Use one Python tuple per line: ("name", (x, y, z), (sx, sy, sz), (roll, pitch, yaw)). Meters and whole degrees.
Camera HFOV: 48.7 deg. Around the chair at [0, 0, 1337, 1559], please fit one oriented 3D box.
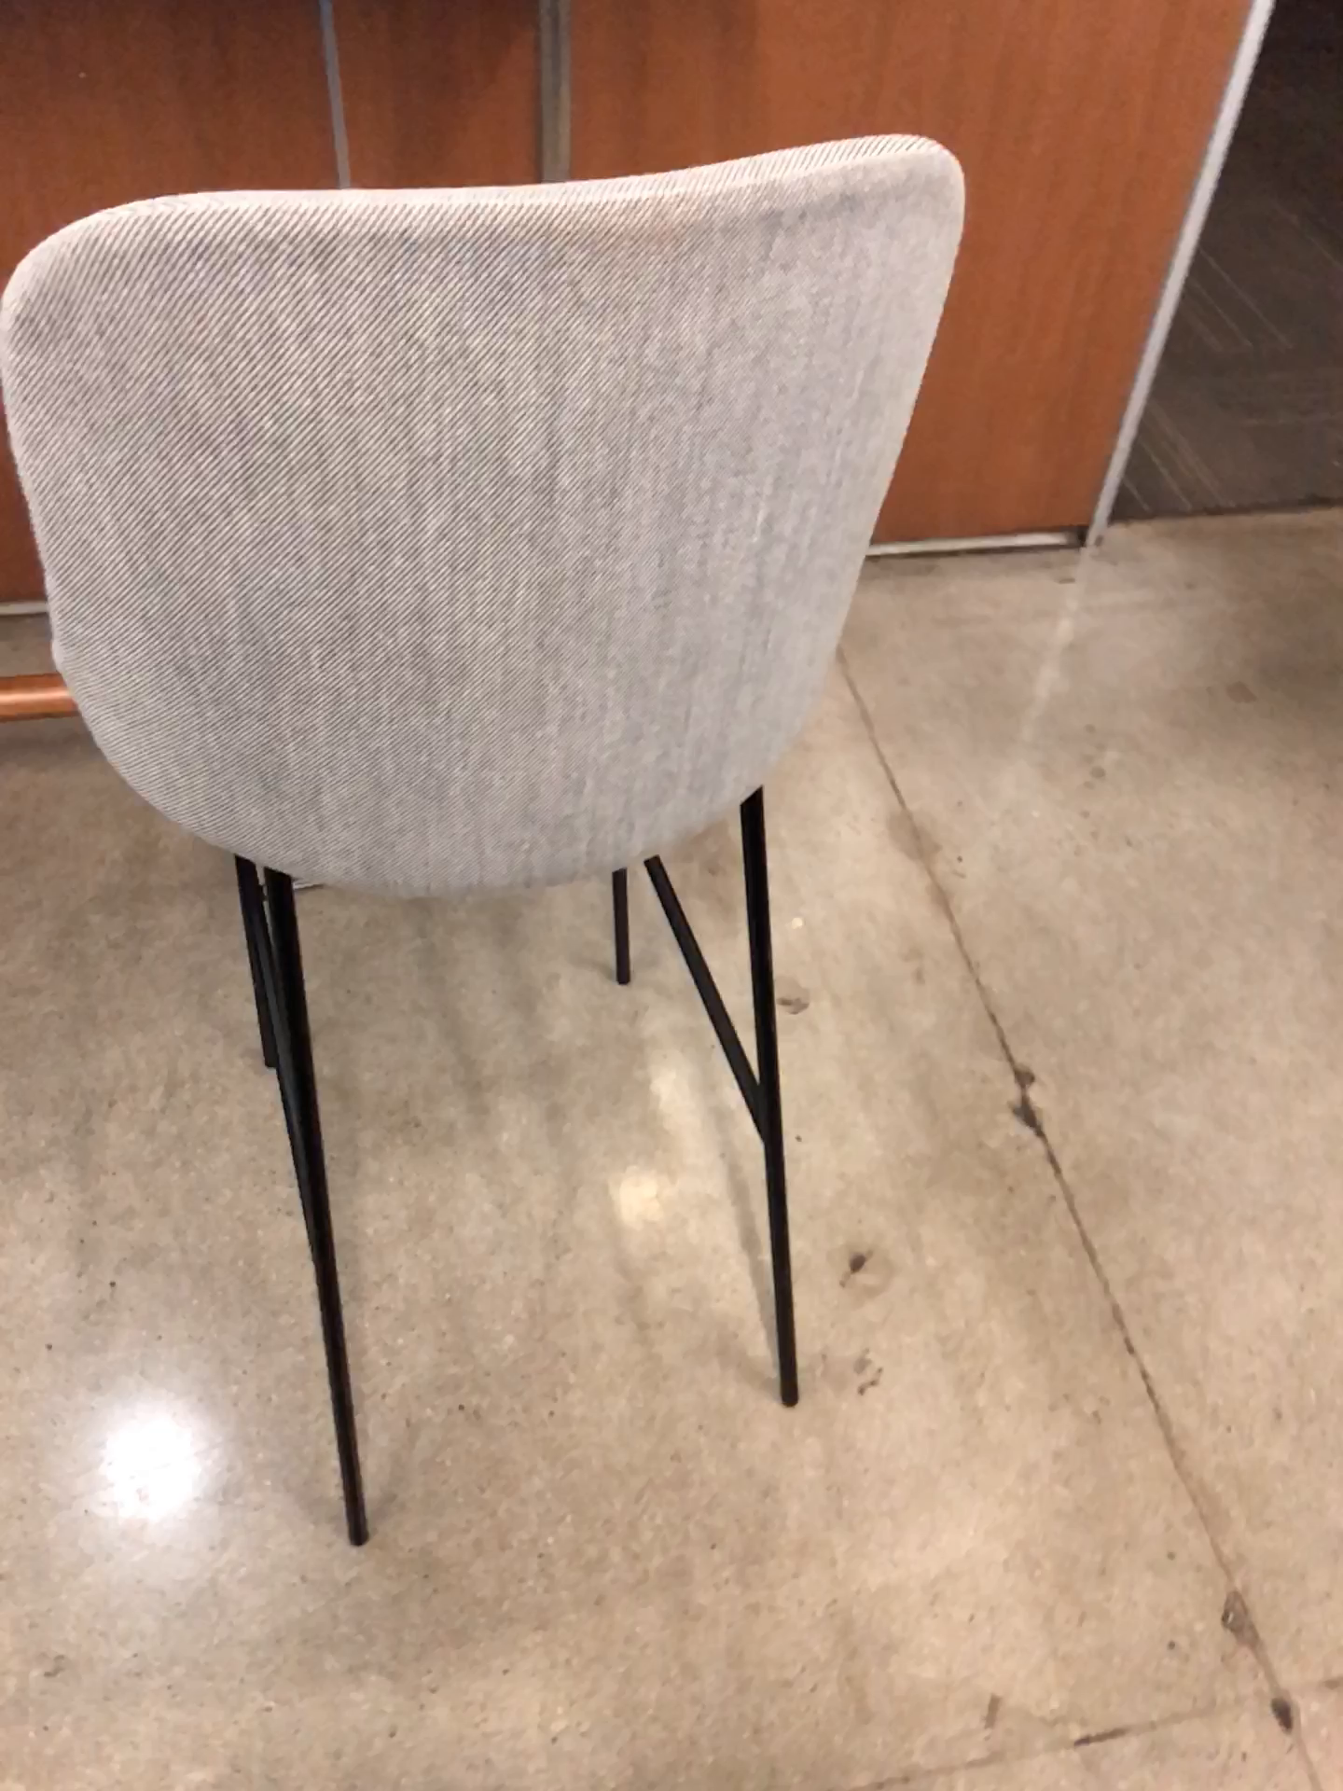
("chair", (-0.120, -0.092, 1.052), (0.460, 1.096, 0.622), (-11, 50, -14))
